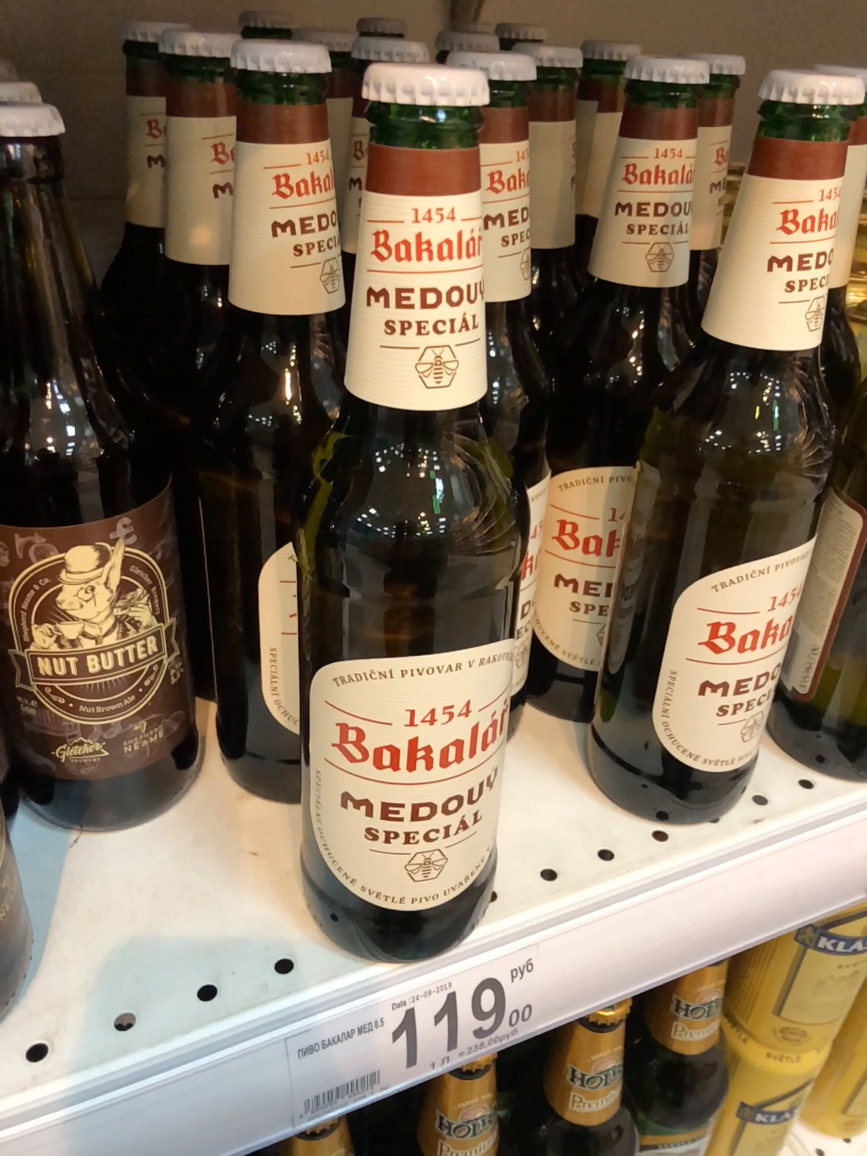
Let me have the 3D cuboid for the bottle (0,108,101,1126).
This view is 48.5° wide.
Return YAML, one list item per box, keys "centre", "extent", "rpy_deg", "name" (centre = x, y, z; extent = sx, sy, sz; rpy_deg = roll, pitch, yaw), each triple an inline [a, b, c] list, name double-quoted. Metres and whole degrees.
- centre: [-0.142, 0.020, 0.232]
  extent: [0.061, 0.233, 0.069]
  rpy_deg: [14, 31, 18]
  name: "bottle"

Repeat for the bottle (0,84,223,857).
- centre: [-0.116, -0.025, 0.308]
  extent: [0.069, 0.231, 0.061]
  rpy_deg: [-10, 32, -22]
  name: "bottle"

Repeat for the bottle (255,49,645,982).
- centre: [-0.006, -0.003, 0.269]
  extent: [0.070, 0.249, 0.066]
  rpy_deg: [2, 30, -1]
  name: "bottle"

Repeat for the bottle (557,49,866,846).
- centre: [0.096, -0.030, 0.317]
  extent: [0.065, 0.249, 0.061]
  rpy_deg: [2, 30, -1]
  name: "bottle"
